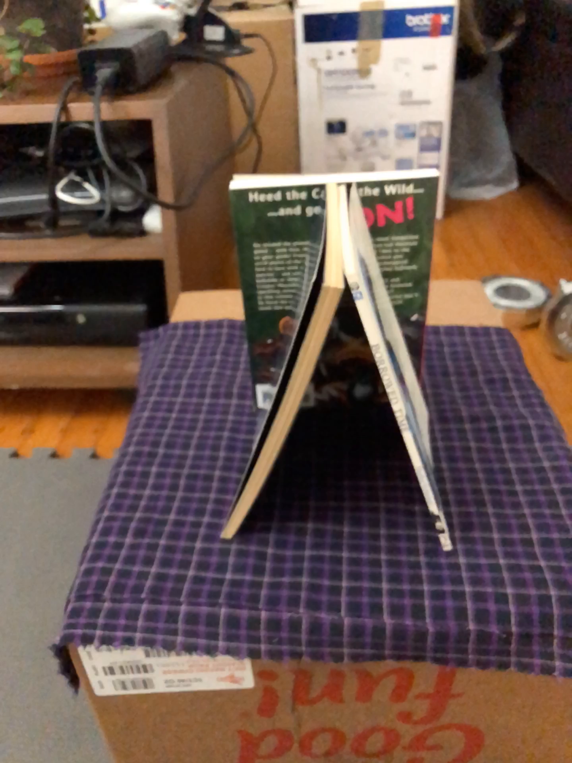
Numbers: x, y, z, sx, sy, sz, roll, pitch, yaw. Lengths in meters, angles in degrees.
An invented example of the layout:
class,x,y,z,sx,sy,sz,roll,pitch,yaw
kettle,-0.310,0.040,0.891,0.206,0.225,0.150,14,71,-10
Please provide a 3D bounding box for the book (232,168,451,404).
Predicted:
class,x,y,z,sx,sy,sz,roll,pitch,yaw
book,0.039,-0.061,0.479,0.140,0.189,0.020,-1,40,3

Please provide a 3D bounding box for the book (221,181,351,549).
class,x,y,z,sx,sy,sz,roll,pitch,yaw
book,0.001,-0.012,0.420,0.010,0.199,0.151,18,35,-6

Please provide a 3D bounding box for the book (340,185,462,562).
class,x,y,z,sx,sy,sz,roll,pitch,yaw
book,0.072,-0.008,0.404,0.010,0.199,0.141,-16,30,14
